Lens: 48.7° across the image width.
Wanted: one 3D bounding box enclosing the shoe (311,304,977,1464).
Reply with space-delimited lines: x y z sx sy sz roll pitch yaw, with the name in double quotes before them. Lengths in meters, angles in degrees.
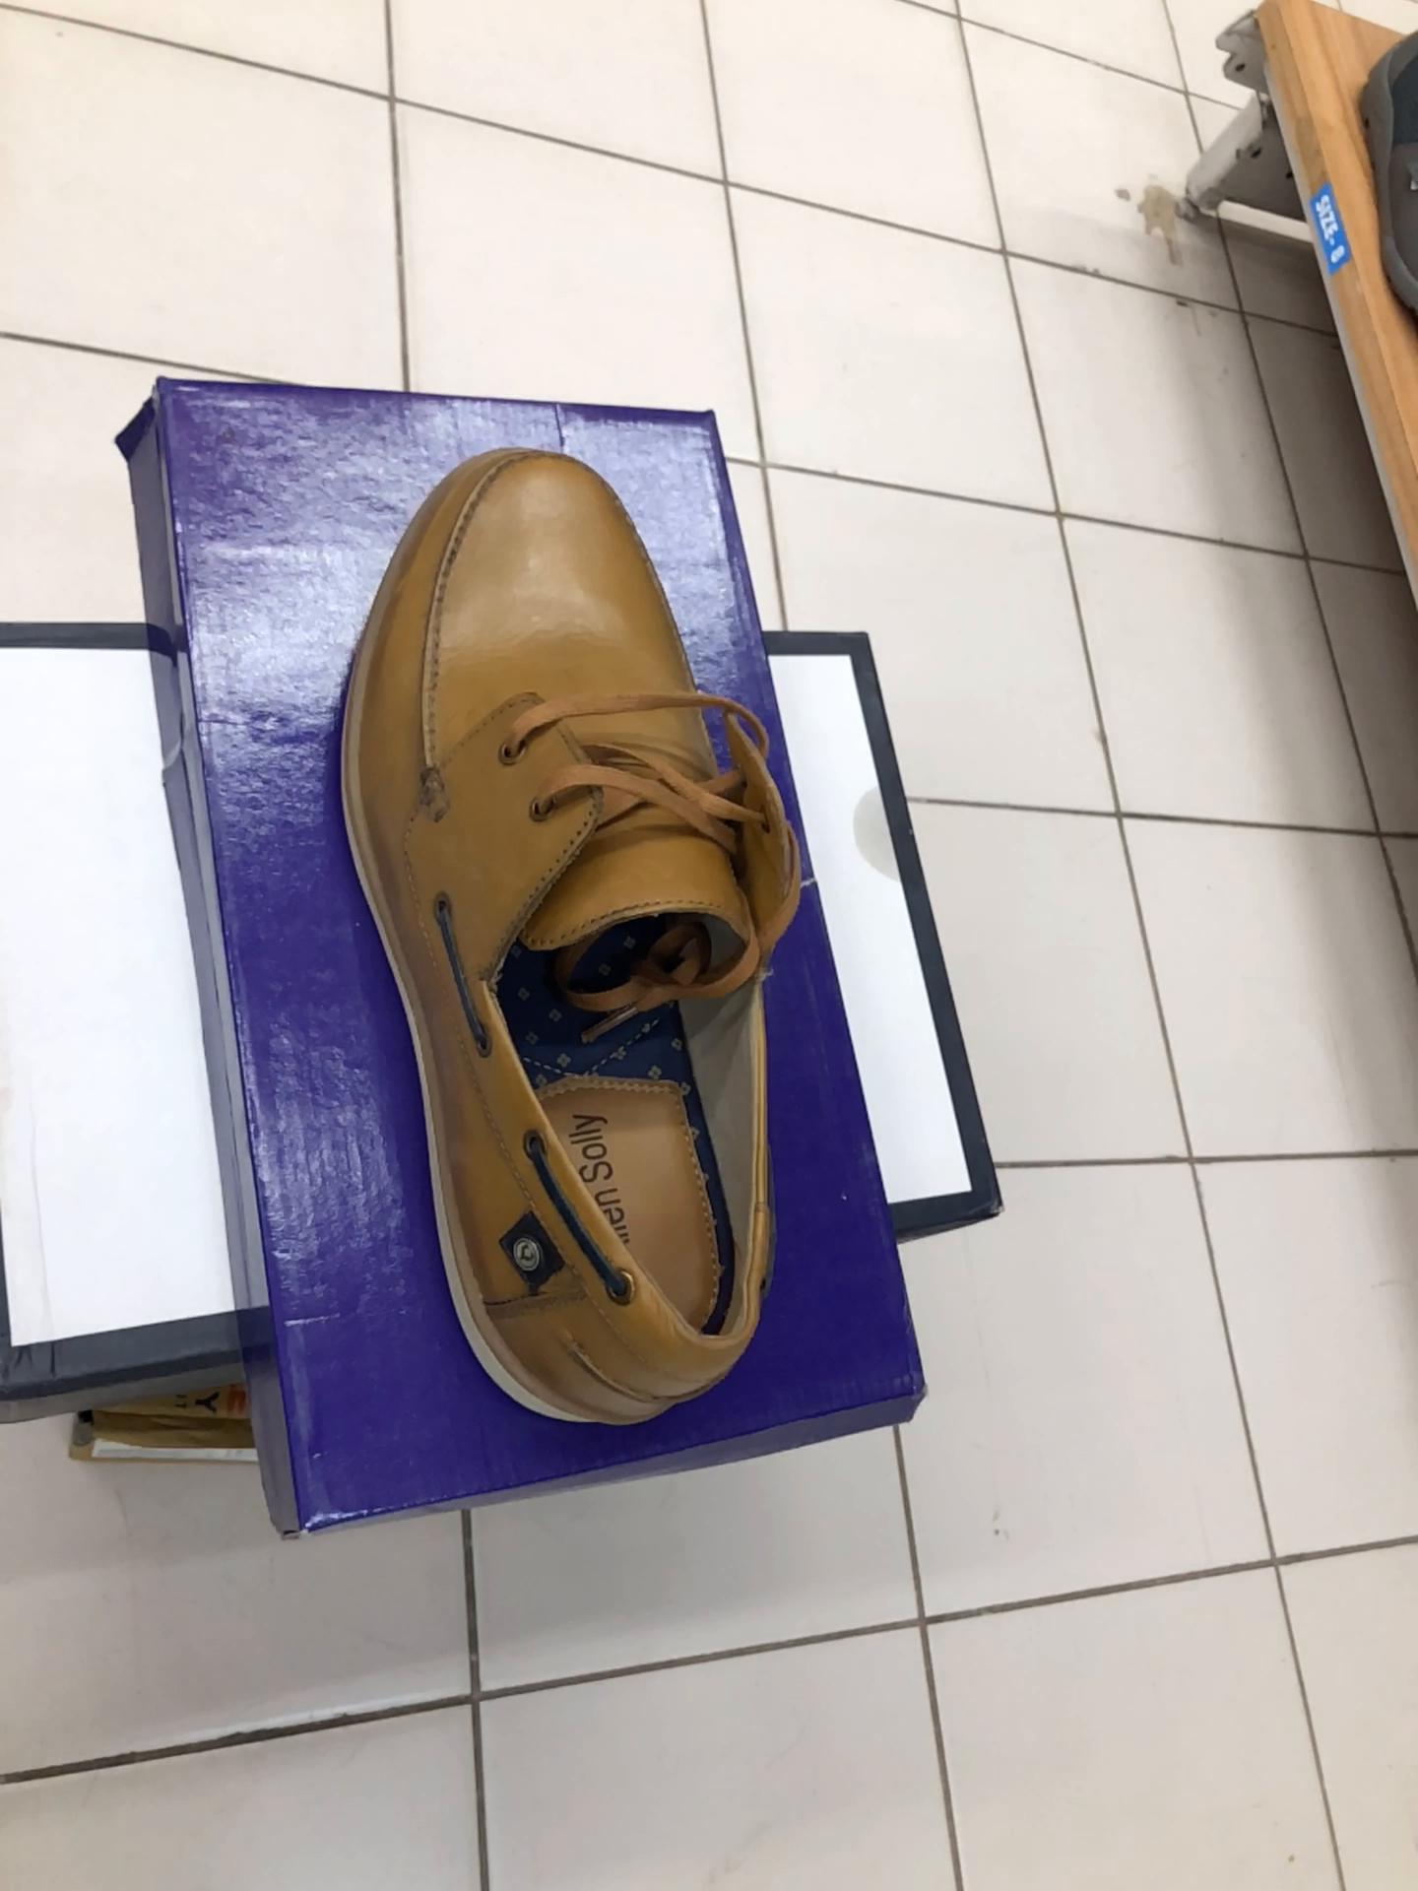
"shoe" -0.030 -0.013 0.403 0.100 0.109 0.260 -2 72 -25
